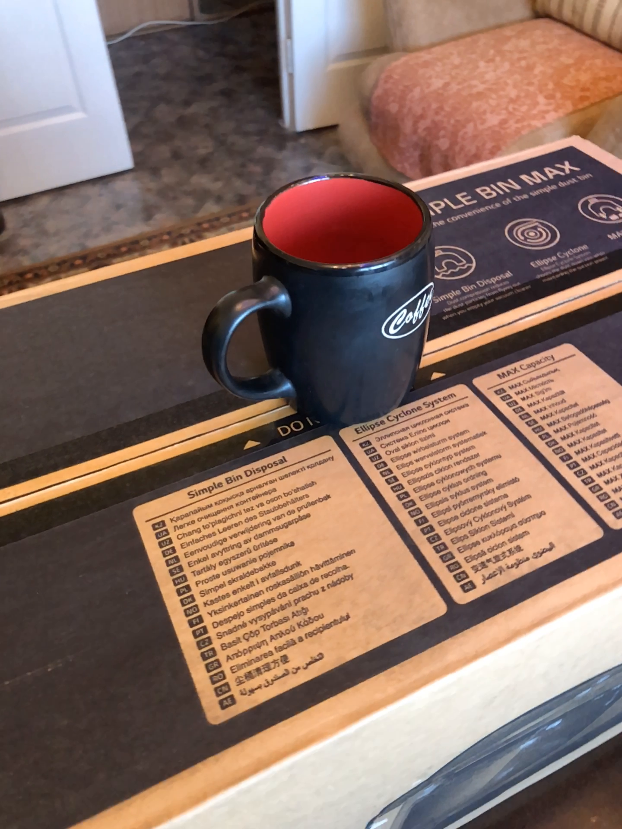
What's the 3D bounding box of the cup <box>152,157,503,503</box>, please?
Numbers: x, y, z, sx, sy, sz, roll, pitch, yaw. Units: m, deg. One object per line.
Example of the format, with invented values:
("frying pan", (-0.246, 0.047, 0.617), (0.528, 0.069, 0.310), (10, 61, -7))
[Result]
("cup", (0.008, -0.044, 0.329), (0.120, 0.090, 0.090), (-31, 54, -24))
